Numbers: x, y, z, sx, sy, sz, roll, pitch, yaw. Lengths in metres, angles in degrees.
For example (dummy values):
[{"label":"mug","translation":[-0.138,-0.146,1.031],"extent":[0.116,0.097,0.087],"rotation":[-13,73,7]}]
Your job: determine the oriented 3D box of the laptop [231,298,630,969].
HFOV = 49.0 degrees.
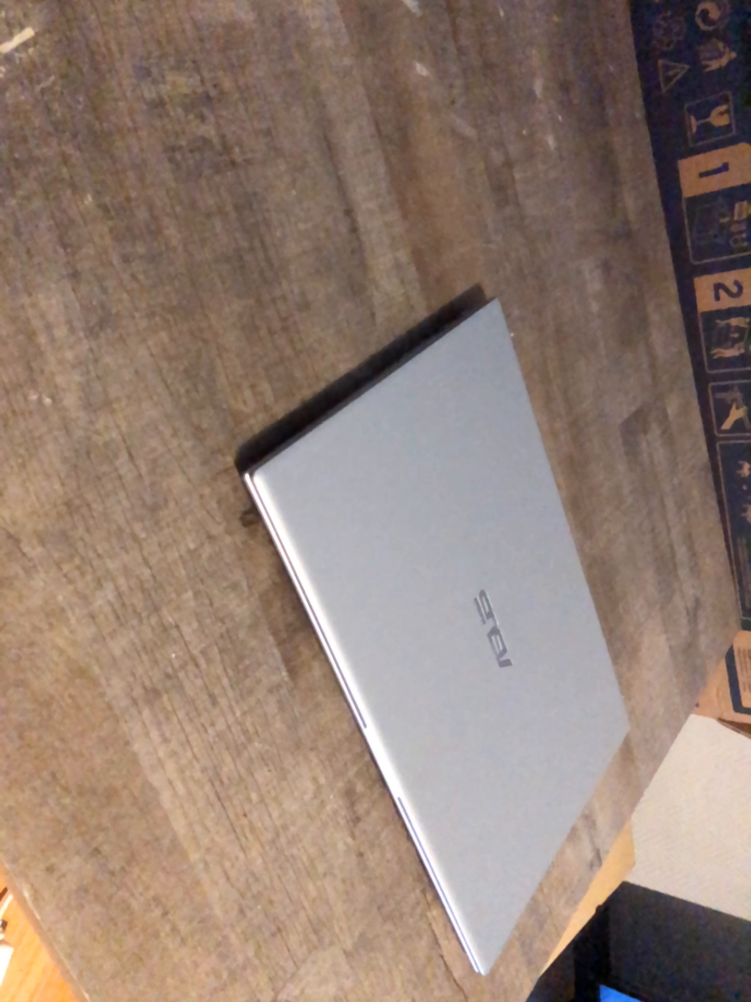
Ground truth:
[{"label":"laptop","translation":[0.068,0.081,0.518],"extent":[0.229,0.013,0.354],"rotation":[-42,119,-39]}]
